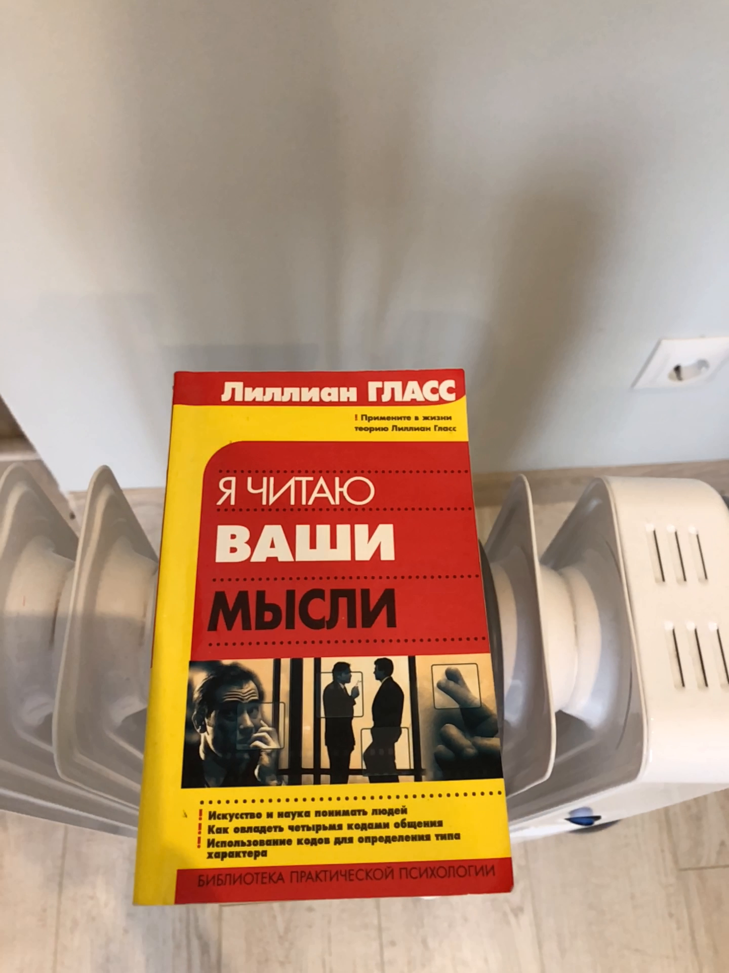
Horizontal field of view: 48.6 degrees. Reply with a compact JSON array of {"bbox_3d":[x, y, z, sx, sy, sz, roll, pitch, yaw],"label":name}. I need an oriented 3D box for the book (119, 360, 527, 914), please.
[{"bbox_3d":[-0.016,0.044,0.309,0.128,0.020,0.207,-1,63,-2],"label":"book"}]
